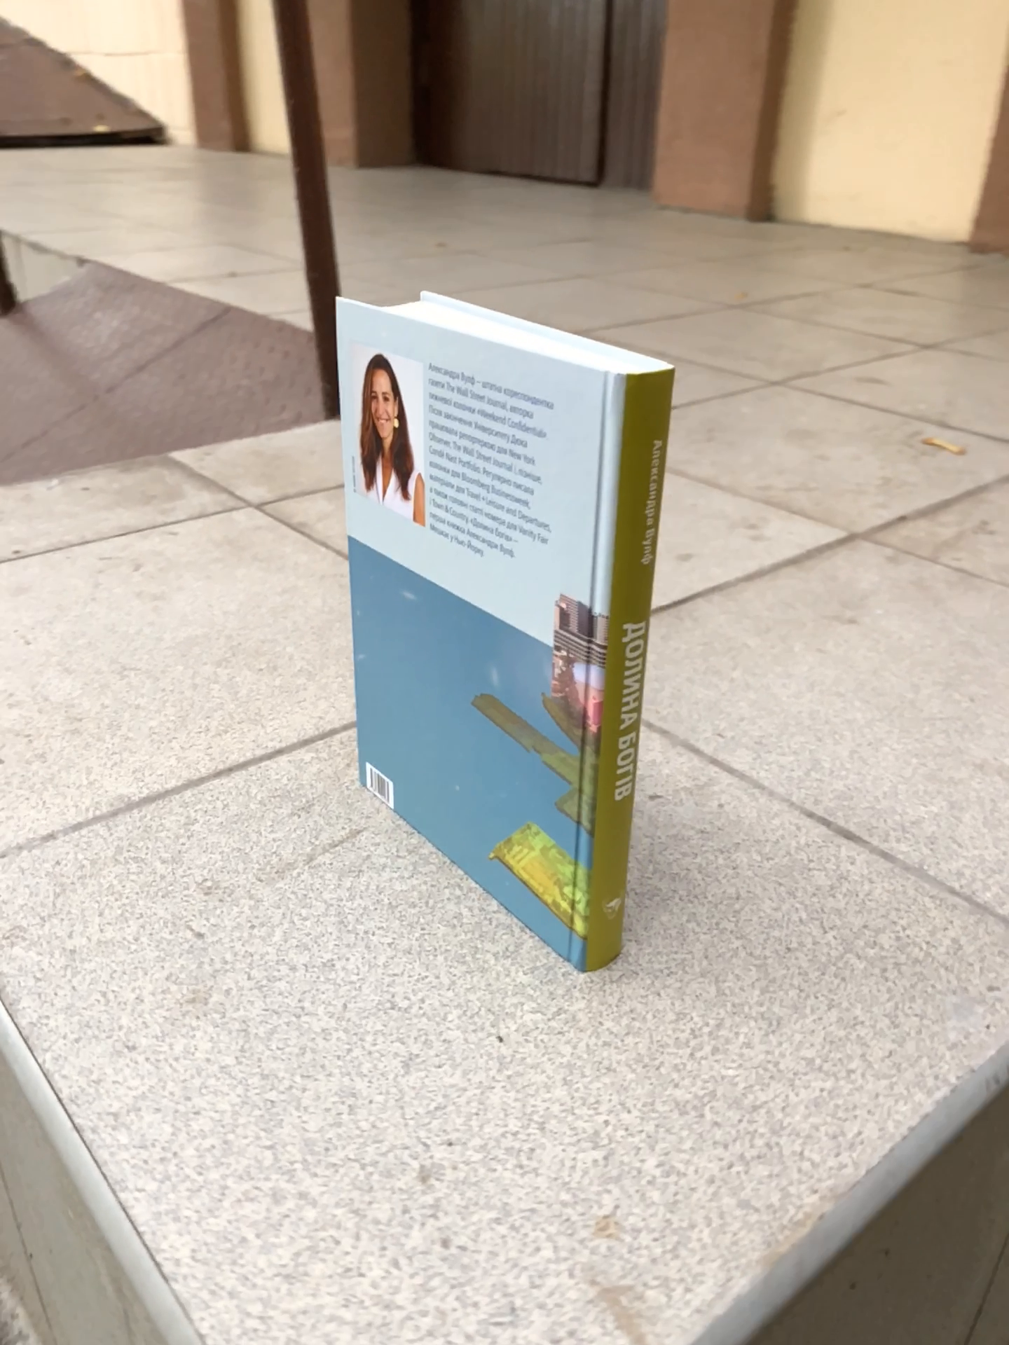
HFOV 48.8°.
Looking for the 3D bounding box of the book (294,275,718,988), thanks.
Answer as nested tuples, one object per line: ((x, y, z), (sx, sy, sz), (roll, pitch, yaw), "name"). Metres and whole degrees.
((-0.008, -0.020, 0.399), (0.044, 0.208, 0.161), (-20, 34, -33), "book")
